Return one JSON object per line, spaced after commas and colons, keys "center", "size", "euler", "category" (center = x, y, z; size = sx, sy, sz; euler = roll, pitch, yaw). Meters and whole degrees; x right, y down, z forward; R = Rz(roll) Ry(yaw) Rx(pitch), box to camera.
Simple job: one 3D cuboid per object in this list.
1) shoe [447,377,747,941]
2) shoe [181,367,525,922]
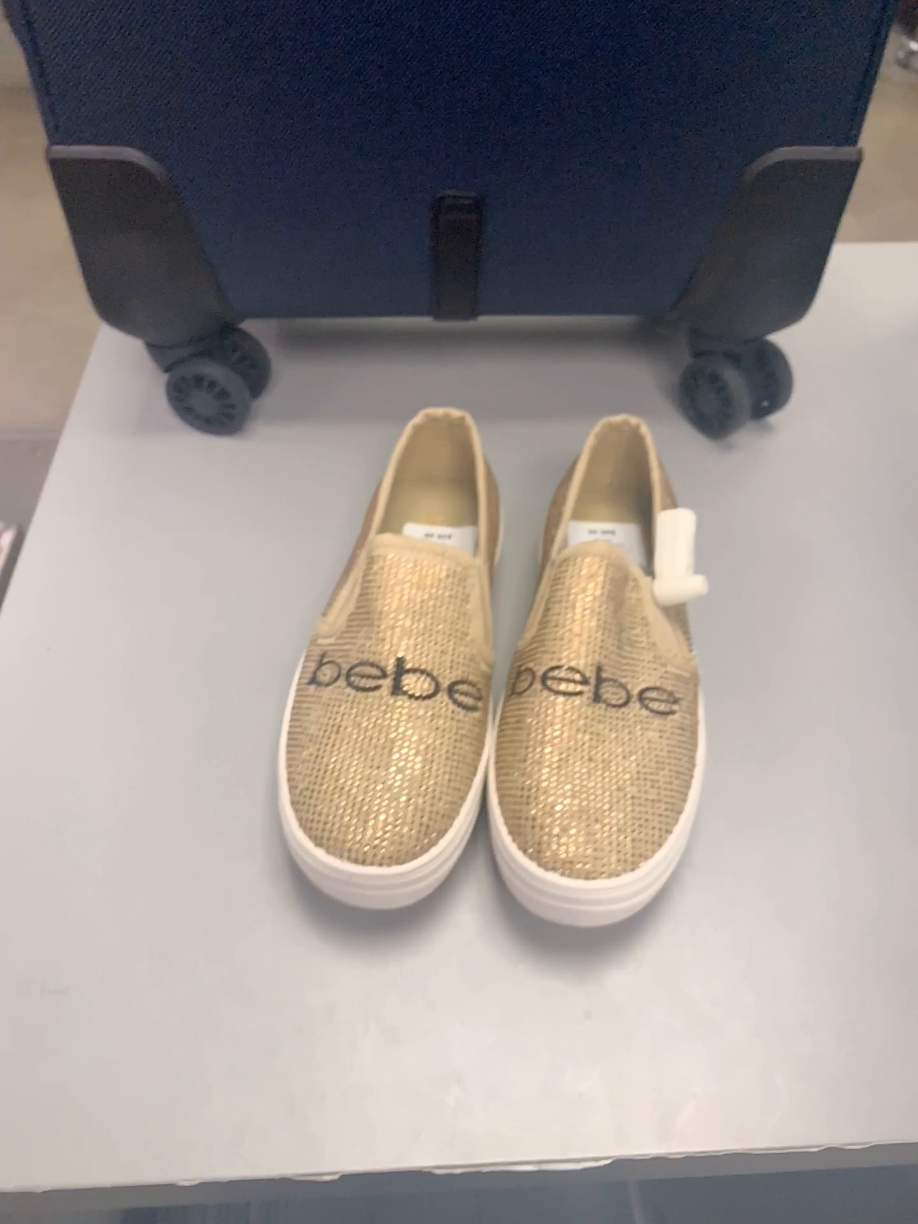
{"center": [0.057, 0.008, 0.400], "size": [0.093, 0.086, 0.223], "euler": [5, 51, 5], "category": "shoe"}
{"center": [-0.029, 0.002, 0.405], "size": [0.093, 0.086, 0.223], "euler": [5, 51, 5], "category": "shoe"}
